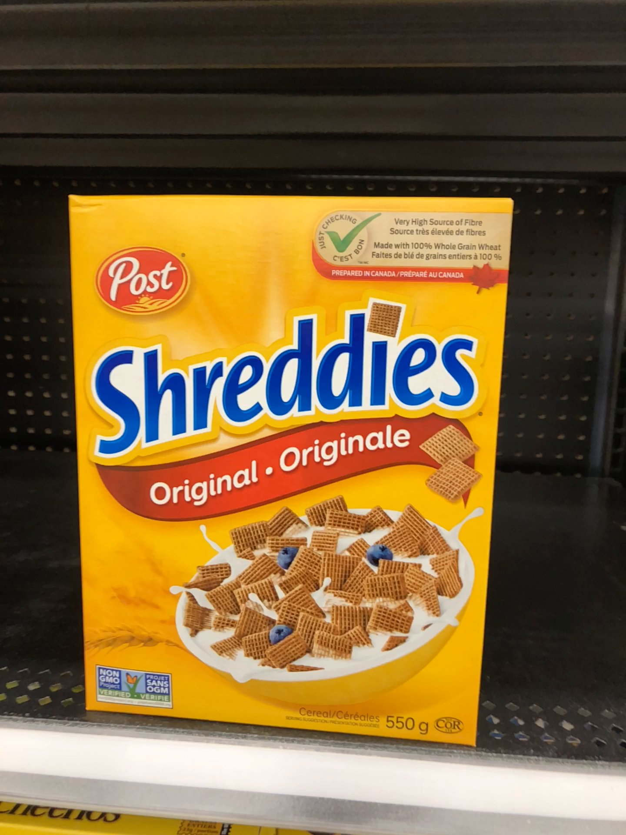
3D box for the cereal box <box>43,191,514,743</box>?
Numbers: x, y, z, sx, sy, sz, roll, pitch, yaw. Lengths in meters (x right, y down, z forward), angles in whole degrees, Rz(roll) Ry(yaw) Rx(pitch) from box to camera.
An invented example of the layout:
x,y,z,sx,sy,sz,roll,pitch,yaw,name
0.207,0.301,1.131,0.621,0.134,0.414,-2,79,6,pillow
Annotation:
x,y,z,sx,sy,sz,roll,pitch,yaw,name
-0.018,0.022,0.363,0.210,0.259,0.070,2,10,5,cereal box
